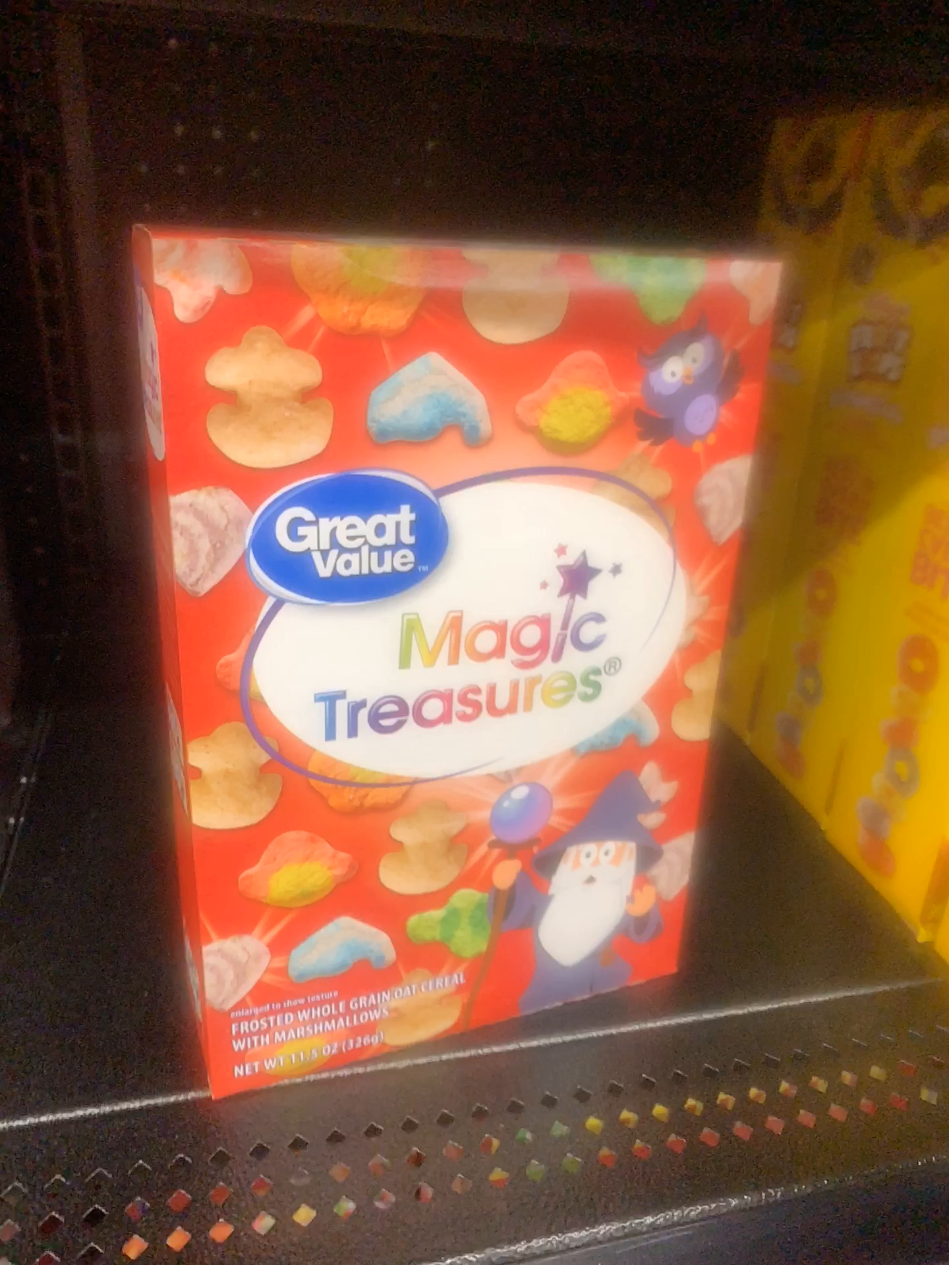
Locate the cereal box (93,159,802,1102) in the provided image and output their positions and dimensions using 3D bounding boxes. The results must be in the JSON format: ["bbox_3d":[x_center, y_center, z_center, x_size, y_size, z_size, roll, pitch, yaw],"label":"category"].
[{"bbox_3d":[-0.009,-0.001,0.341,0.200,0.279,0.070,-7,21,-21],"label":"cereal box"}]
